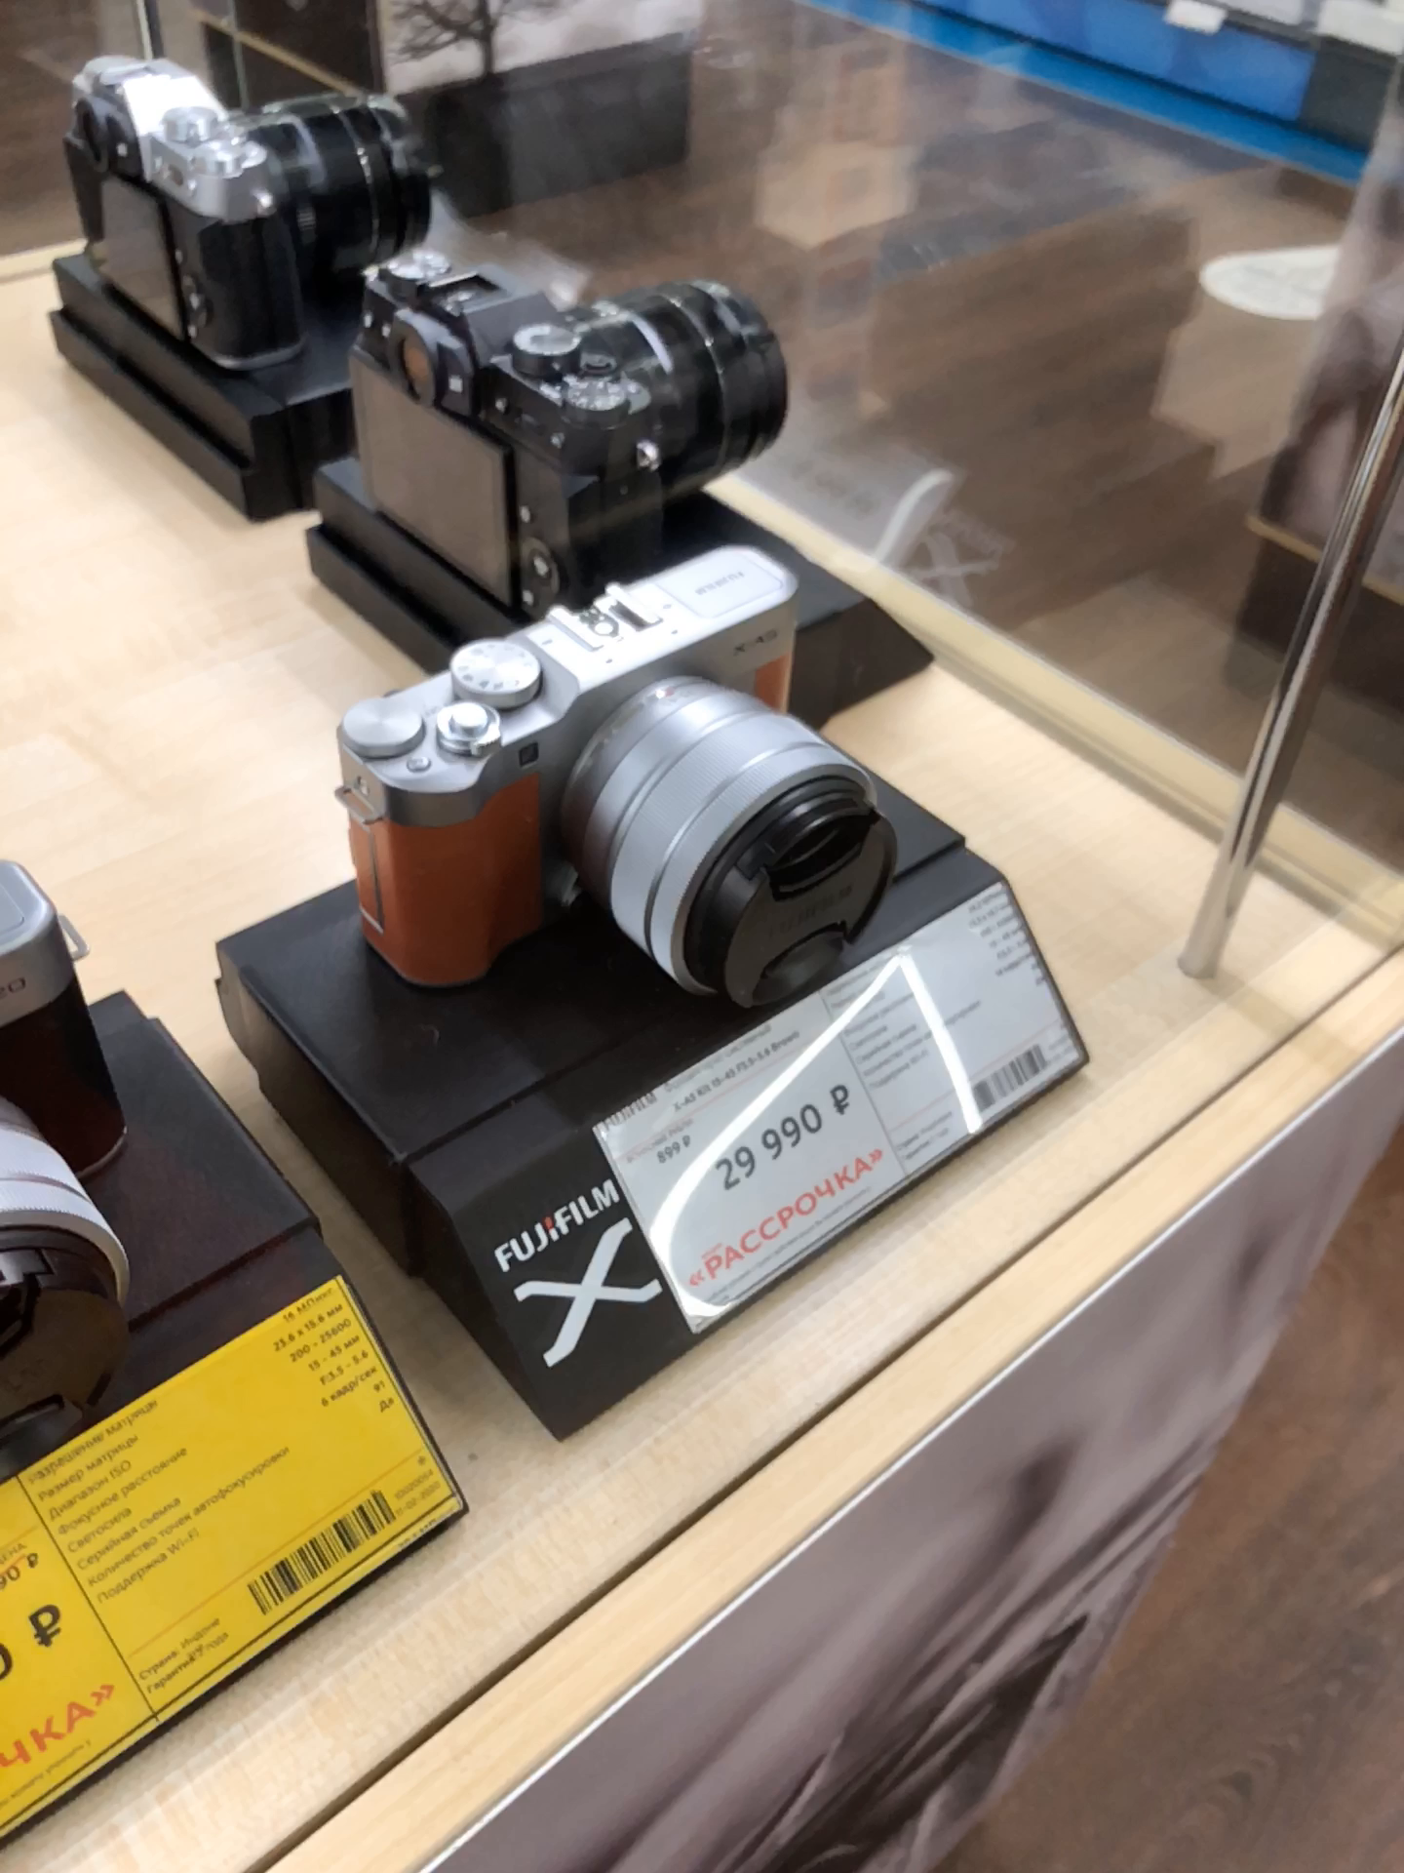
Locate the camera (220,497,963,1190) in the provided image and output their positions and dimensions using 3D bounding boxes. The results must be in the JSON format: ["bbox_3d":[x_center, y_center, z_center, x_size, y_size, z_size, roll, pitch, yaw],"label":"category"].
[{"bbox_3d":[-0.023,-0.027,0.347,0.121,0.075,0.093,-30,53,-30],"label":"camera"}]

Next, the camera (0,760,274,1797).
[{"bbox_3d":[-0.153,0.046,0.256,0.121,0.075,0.093,-30,53,-30],"label":"camera"}]

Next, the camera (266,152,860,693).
[{"bbox_3d":[-0.043,-0.162,0.476,0.113,0.090,0.131,-30,53,-30],"label":"camera"}]
